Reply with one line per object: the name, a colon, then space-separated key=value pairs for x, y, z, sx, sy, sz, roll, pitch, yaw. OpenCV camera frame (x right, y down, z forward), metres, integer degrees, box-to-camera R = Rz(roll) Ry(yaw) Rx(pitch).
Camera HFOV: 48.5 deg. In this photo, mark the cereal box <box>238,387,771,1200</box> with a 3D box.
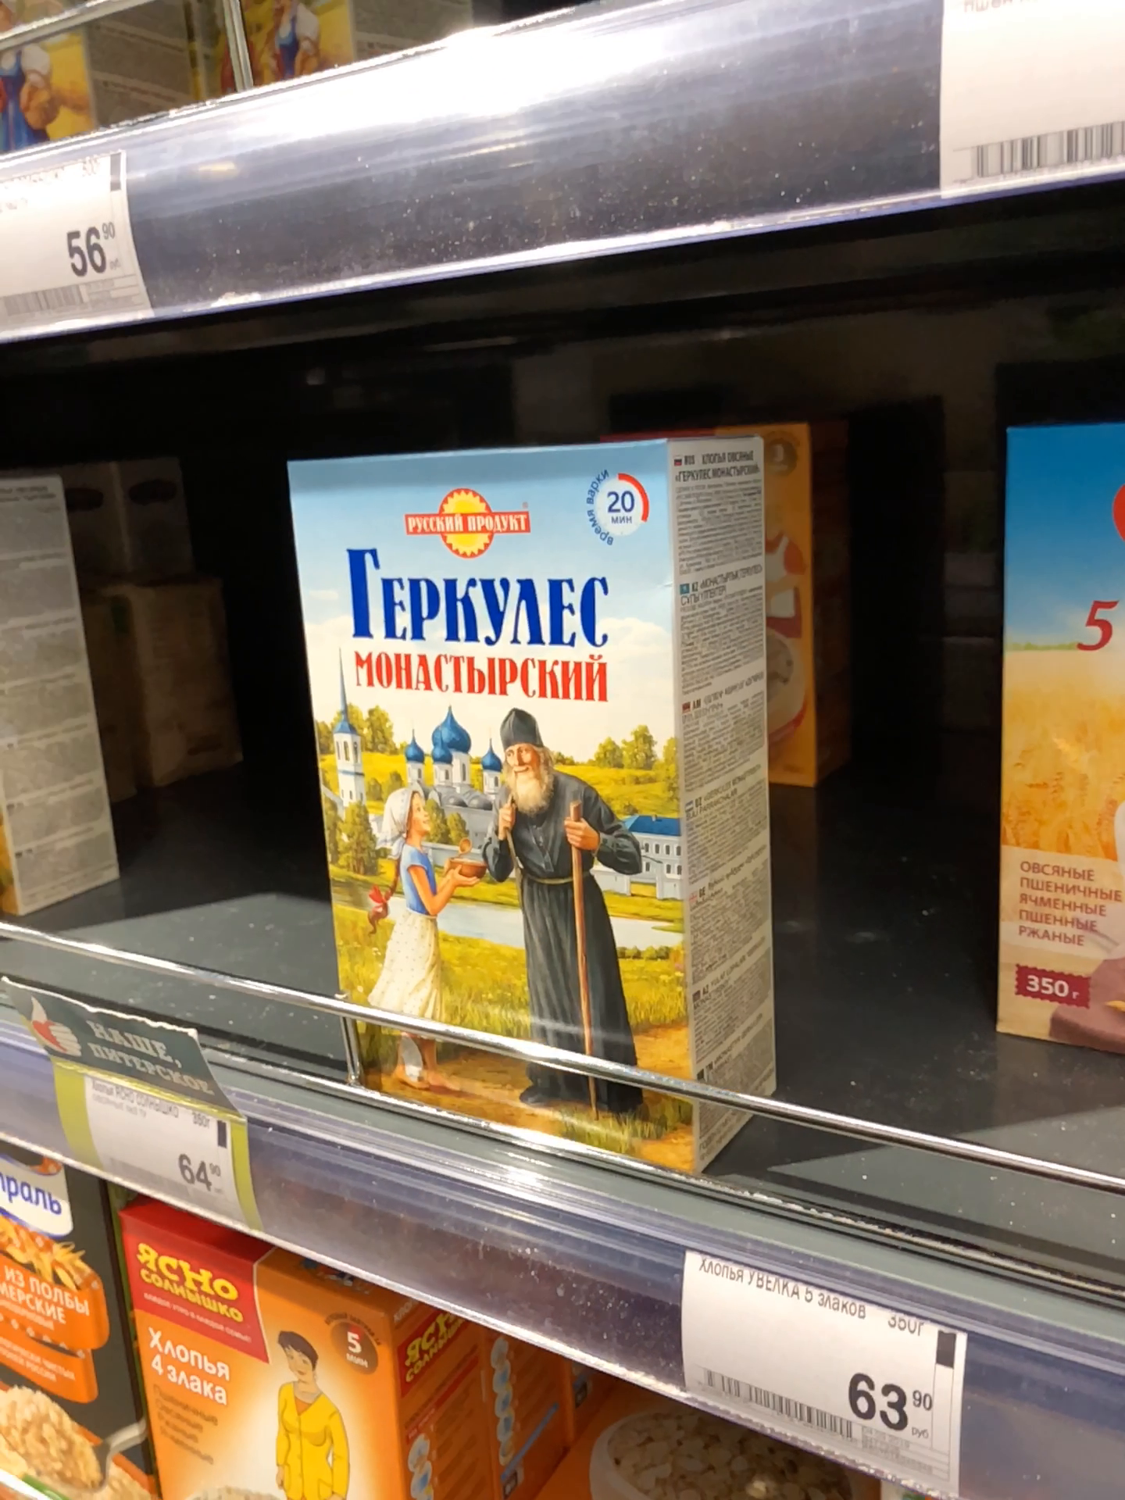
cereal box: x=-0.014 y=0.006 z=0.355 sx=0.130 sy=0.199 sz=0.060 roll=5 pitch=14 yaw=30
